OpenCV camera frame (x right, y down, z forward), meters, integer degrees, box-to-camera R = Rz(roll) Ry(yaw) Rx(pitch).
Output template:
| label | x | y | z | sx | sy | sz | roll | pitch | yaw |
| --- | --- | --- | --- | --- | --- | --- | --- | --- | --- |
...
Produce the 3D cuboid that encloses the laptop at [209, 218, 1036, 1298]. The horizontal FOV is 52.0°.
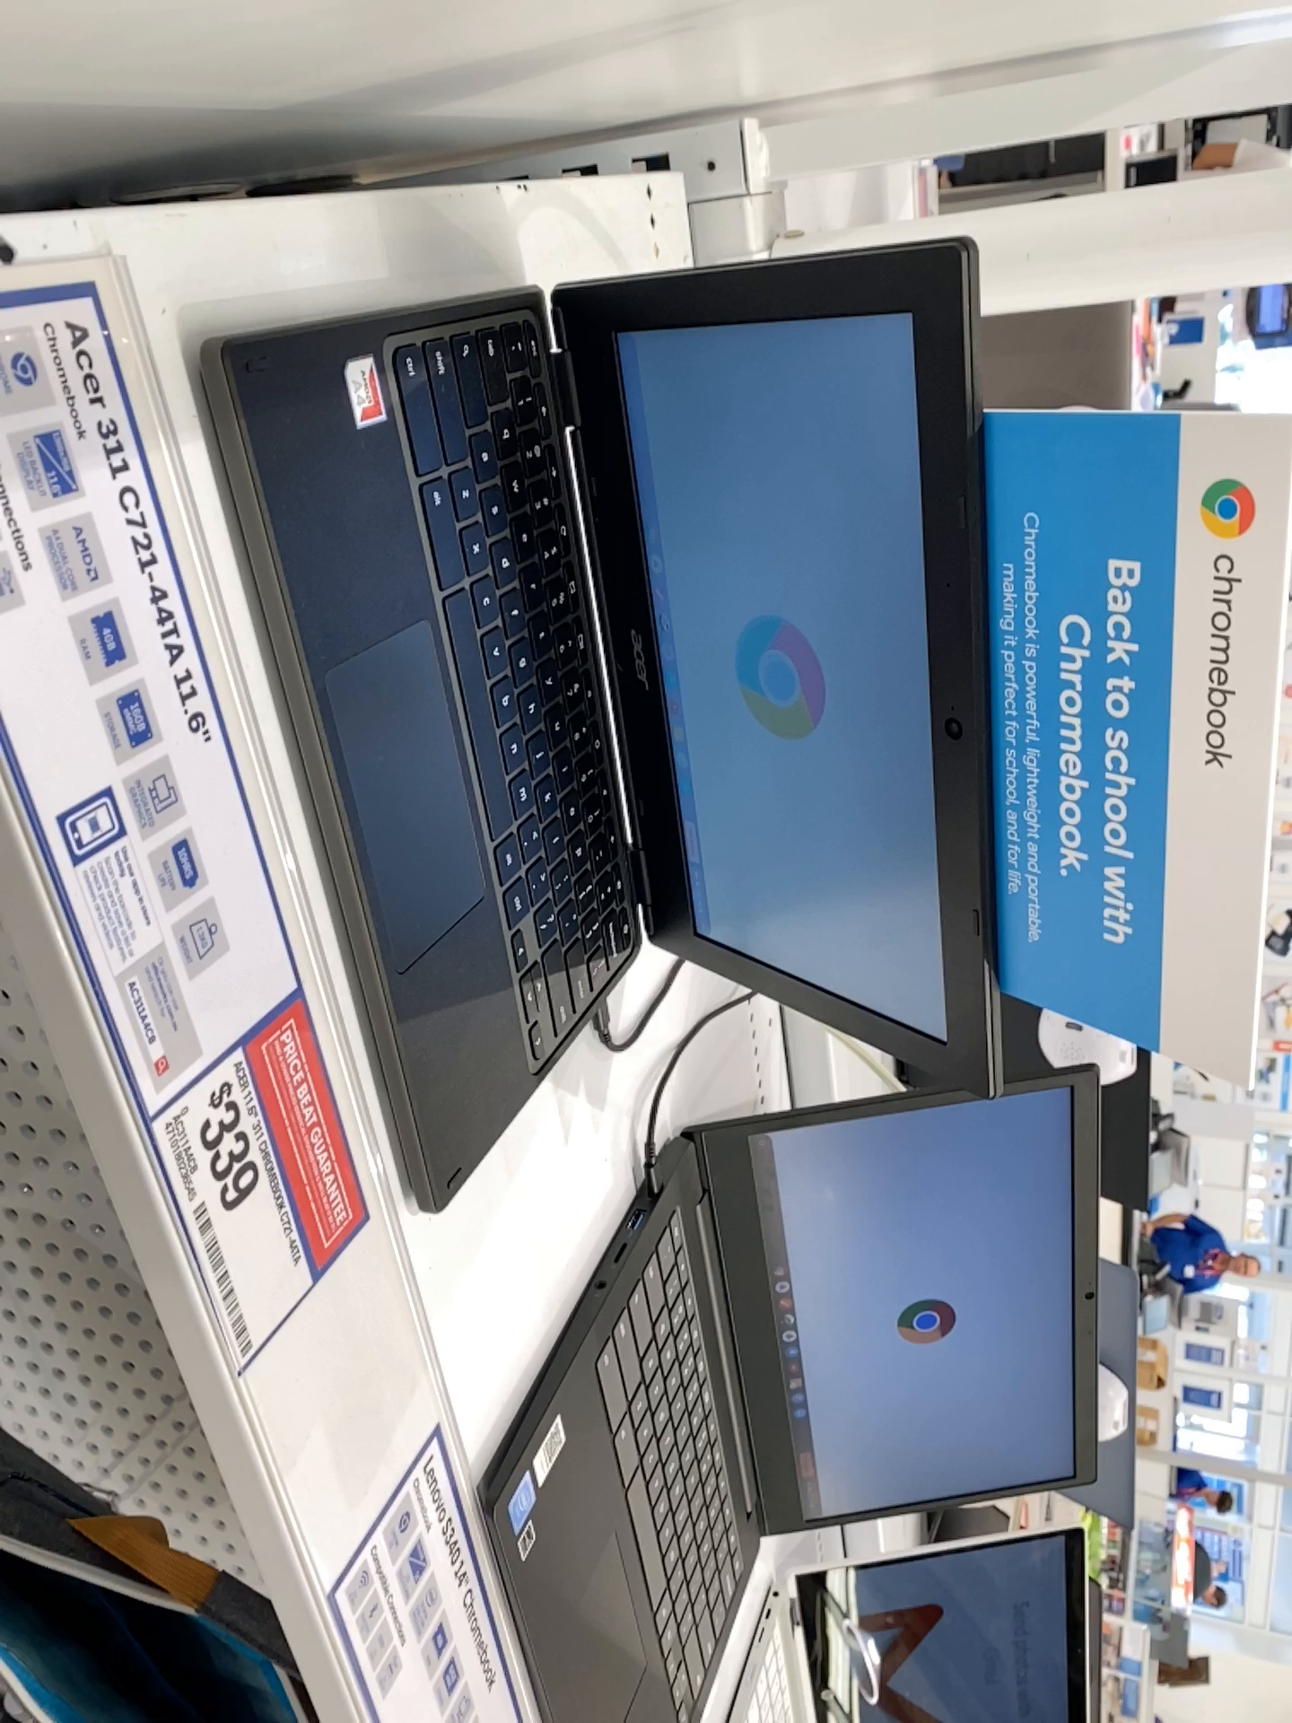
| label | x | y | z | sx | sy | sz | roll | pitch | yaw |
| --- | --- | --- | --- | --- | --- | --- | --- | --- | --- |
| laptop | 0.025 | -0.046 | 0.457 | 0.201 | 0.181 | 0.290 | -50 | 137 | -55 |
